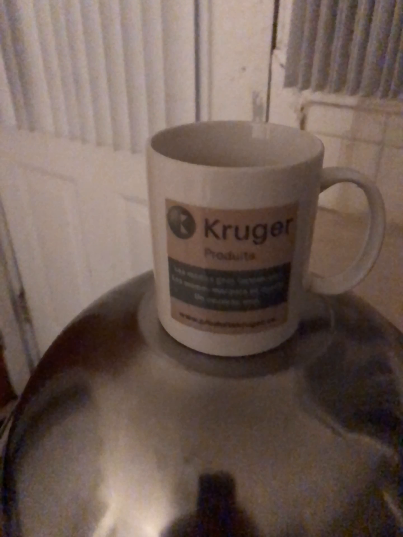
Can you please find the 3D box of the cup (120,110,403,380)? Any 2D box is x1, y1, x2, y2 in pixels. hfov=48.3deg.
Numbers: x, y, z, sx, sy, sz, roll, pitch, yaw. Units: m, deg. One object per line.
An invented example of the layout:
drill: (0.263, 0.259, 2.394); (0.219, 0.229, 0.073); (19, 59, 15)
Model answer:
cup: (0.031, -0.017, 0.240); (0.120, 0.109, 0.091); (2, 31, 4)
